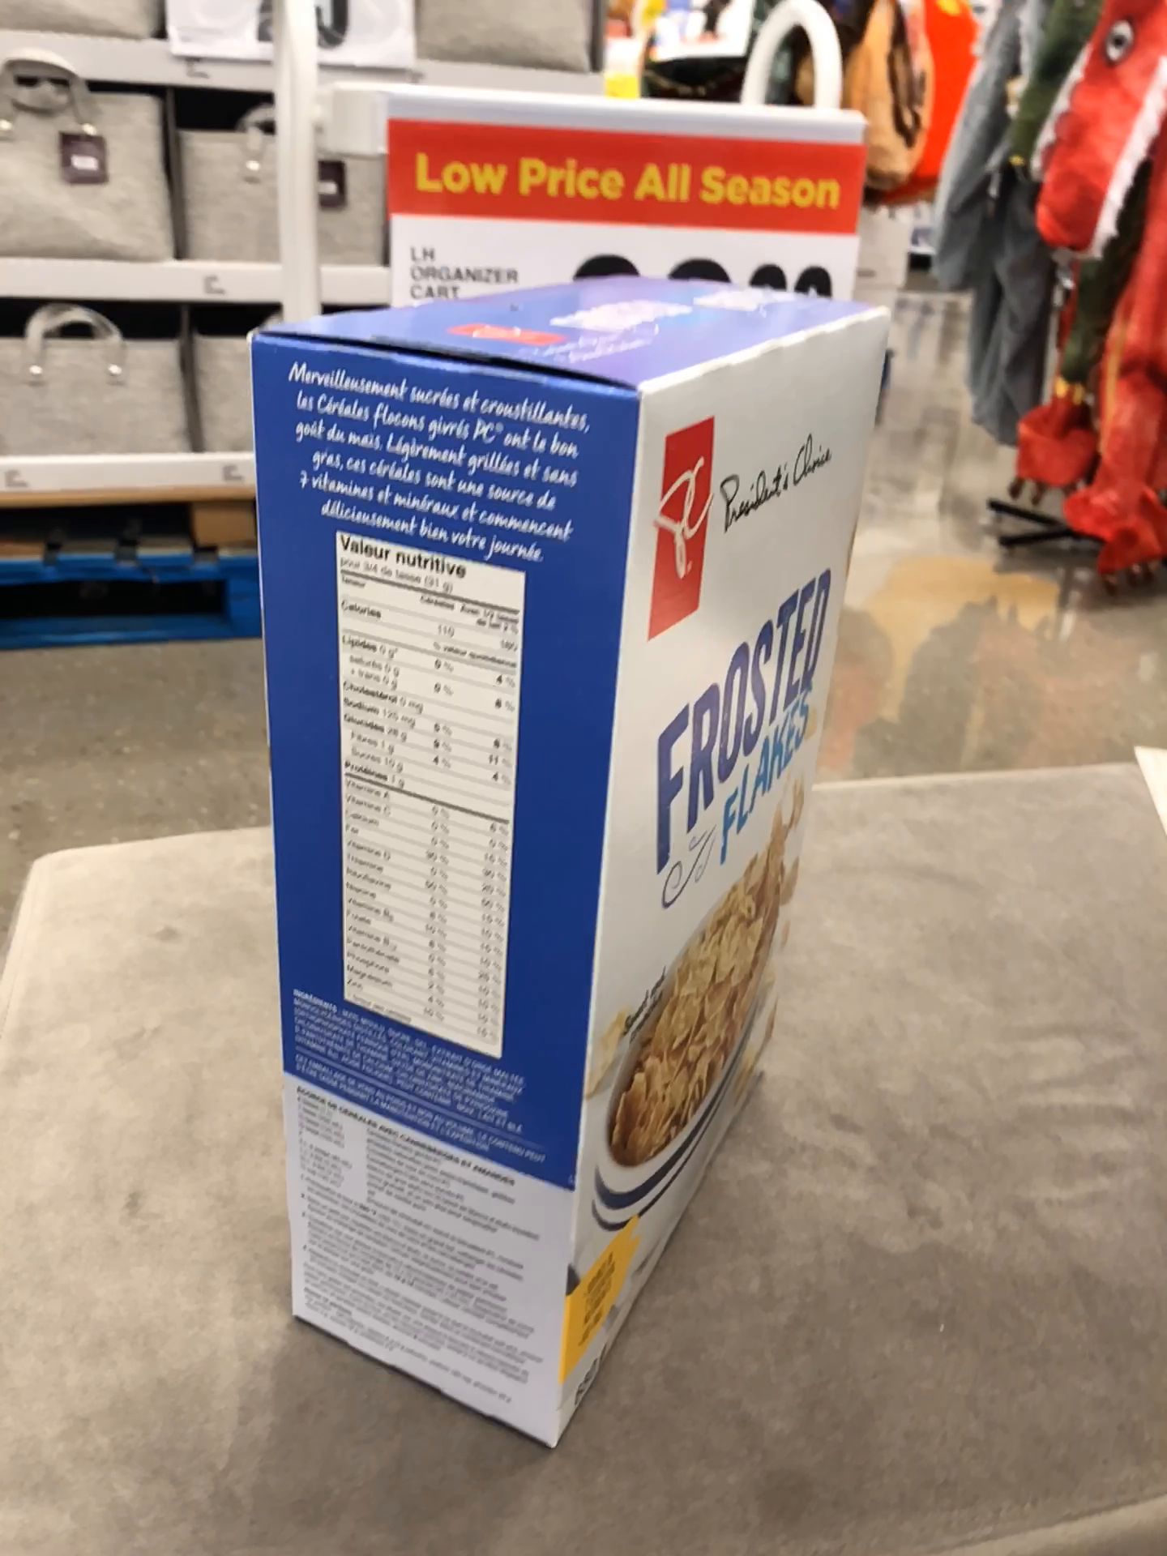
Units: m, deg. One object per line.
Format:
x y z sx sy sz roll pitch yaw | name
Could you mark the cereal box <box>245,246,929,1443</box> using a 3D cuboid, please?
0.010 0.002 0.393 0.100 0.289 0.201 14 27 21 | cereal box
